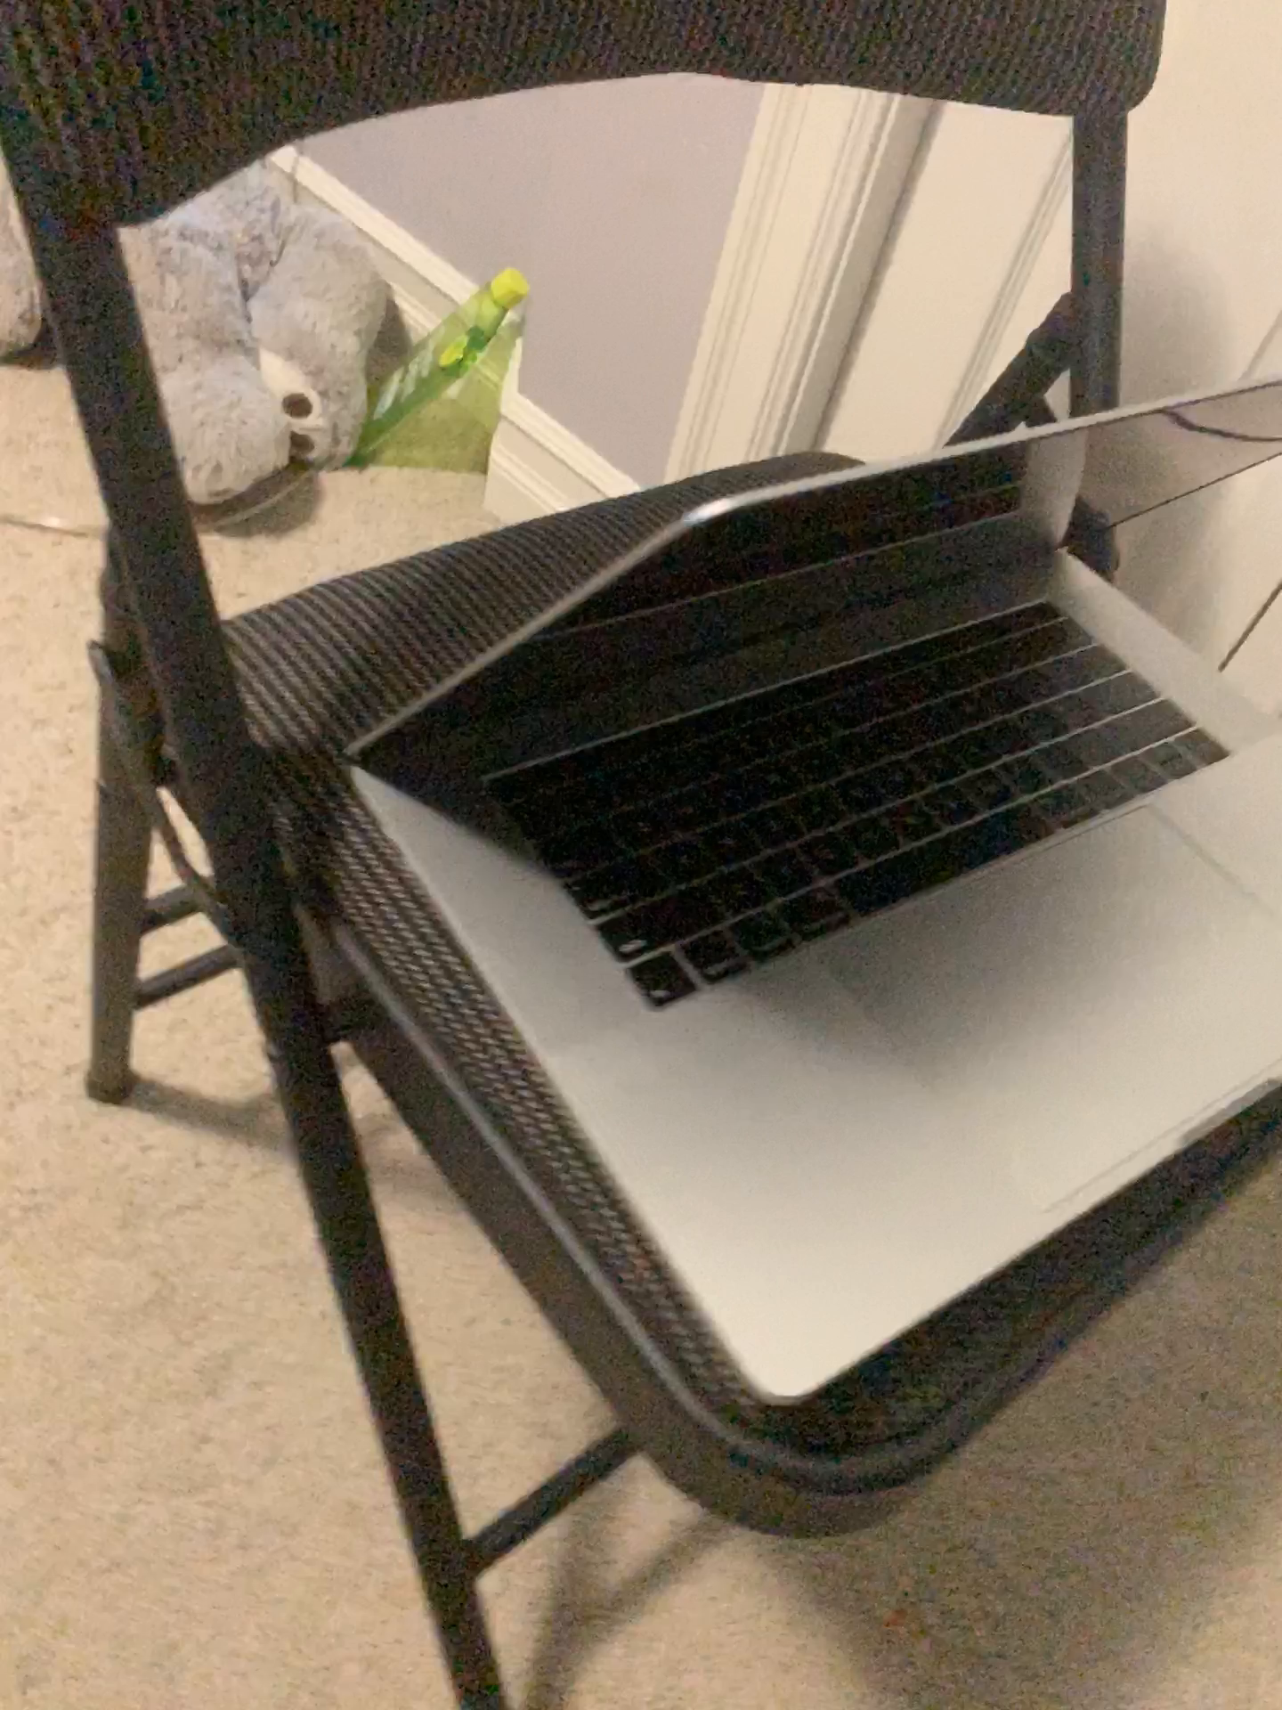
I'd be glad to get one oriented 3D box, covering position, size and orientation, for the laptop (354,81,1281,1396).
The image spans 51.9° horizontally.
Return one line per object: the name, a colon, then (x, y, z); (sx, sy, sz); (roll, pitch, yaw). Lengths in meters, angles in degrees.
laptop: (0.127, -0.066, 0.371); (0.335, 0.188, 0.231); (-21, 57, -28)
